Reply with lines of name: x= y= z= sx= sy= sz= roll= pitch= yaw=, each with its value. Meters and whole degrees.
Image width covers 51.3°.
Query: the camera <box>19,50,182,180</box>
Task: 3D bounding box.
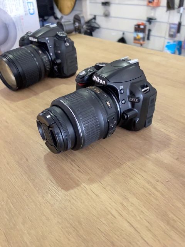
camera: x=0.014 y=-0.034 z=0.287 sx=0.180 sy=0.089 sz=0.130 roll=-27 pitch=42 yaw=-31
